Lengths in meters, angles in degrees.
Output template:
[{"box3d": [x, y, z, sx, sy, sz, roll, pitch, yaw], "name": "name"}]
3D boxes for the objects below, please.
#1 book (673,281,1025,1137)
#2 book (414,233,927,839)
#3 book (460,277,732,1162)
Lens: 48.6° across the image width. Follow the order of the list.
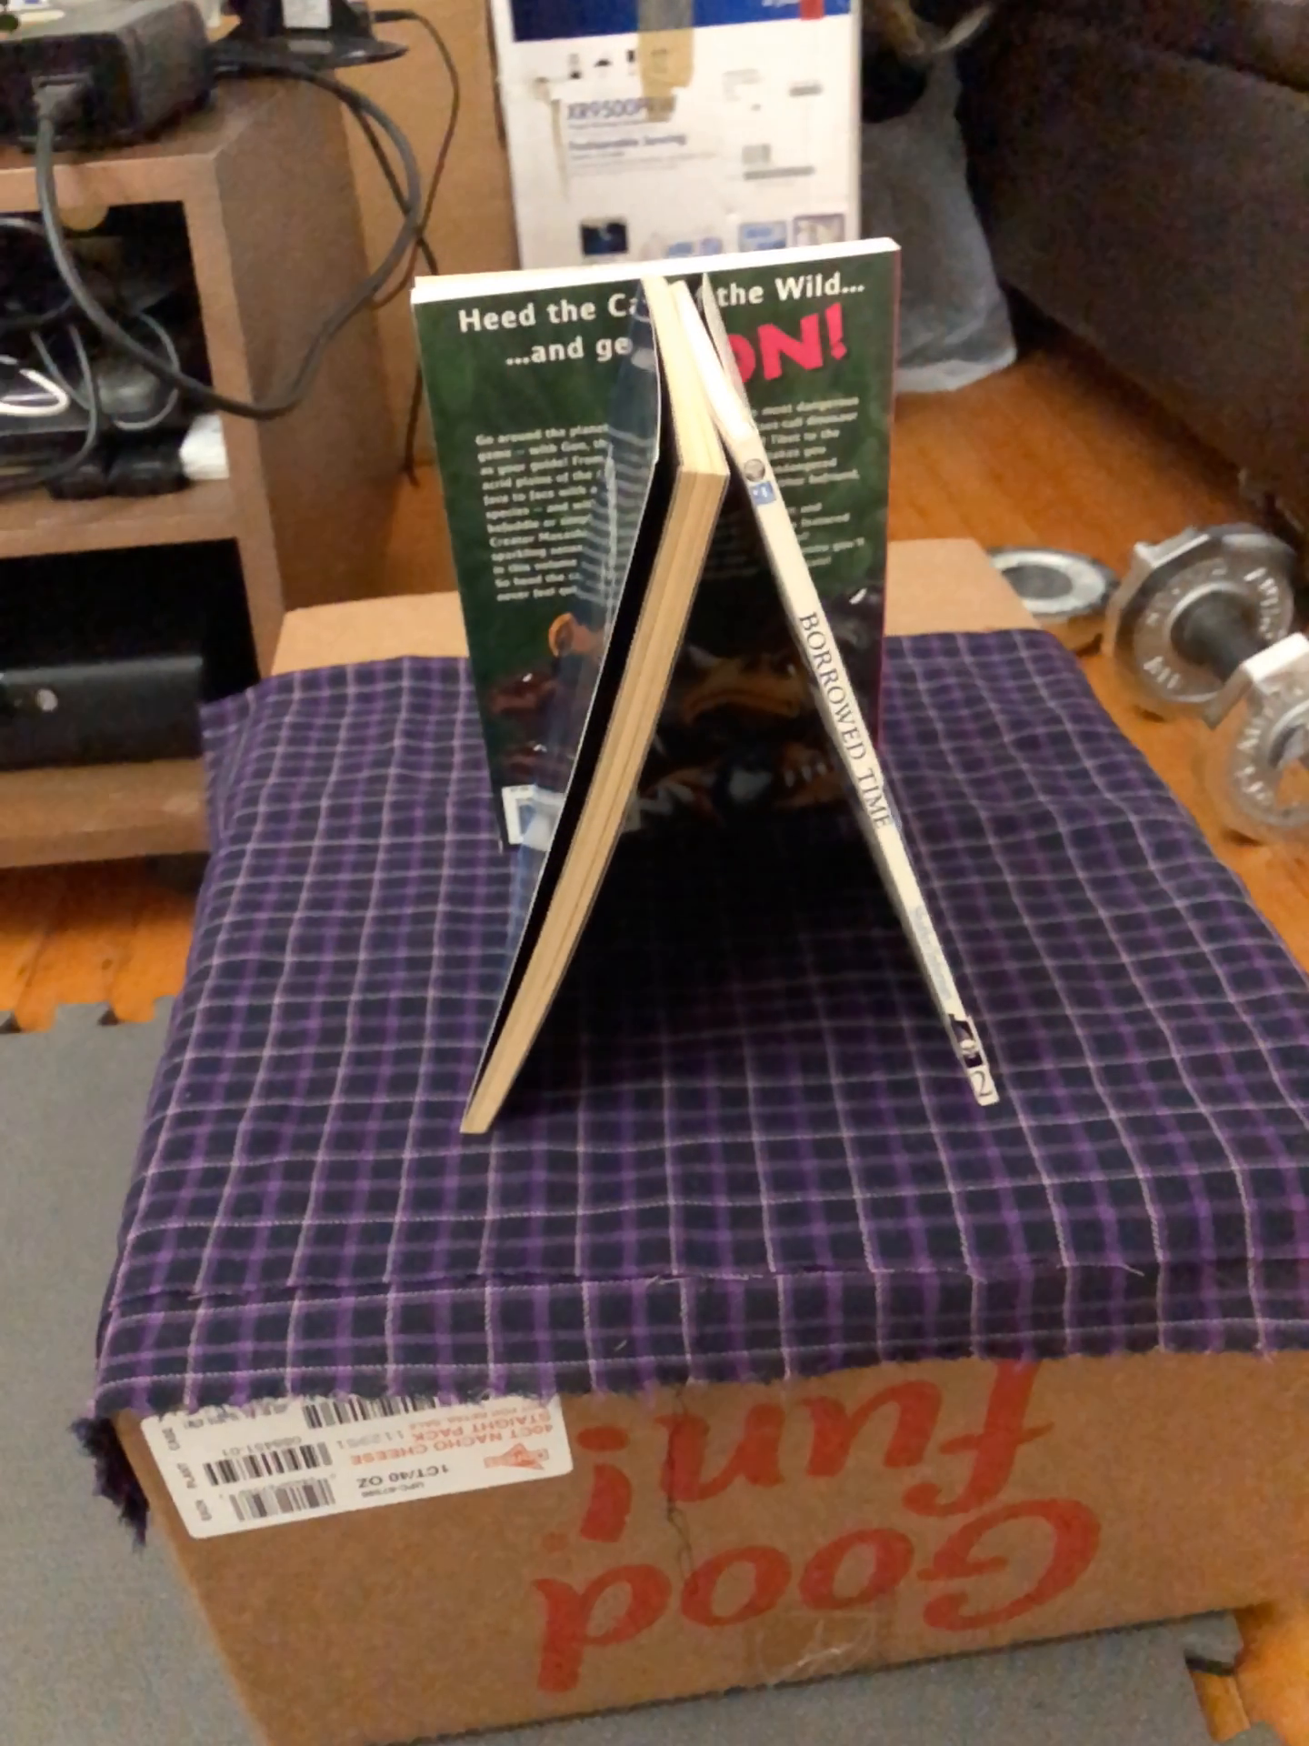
[{"box3d": [0.052, -0.046, 0.391, 0.010, 0.199, 0.141, -21, 33, 9], "name": "book"}, {"box3d": [0.008, -0.097, 0.462, 0.140, 0.189, 0.020, -6, 41, -3], "name": "book"}, {"box3d": [-0.021, -0.044, 0.401, 0.010, 0.199, 0.151, 13, 34, -11], "name": "book"}]
